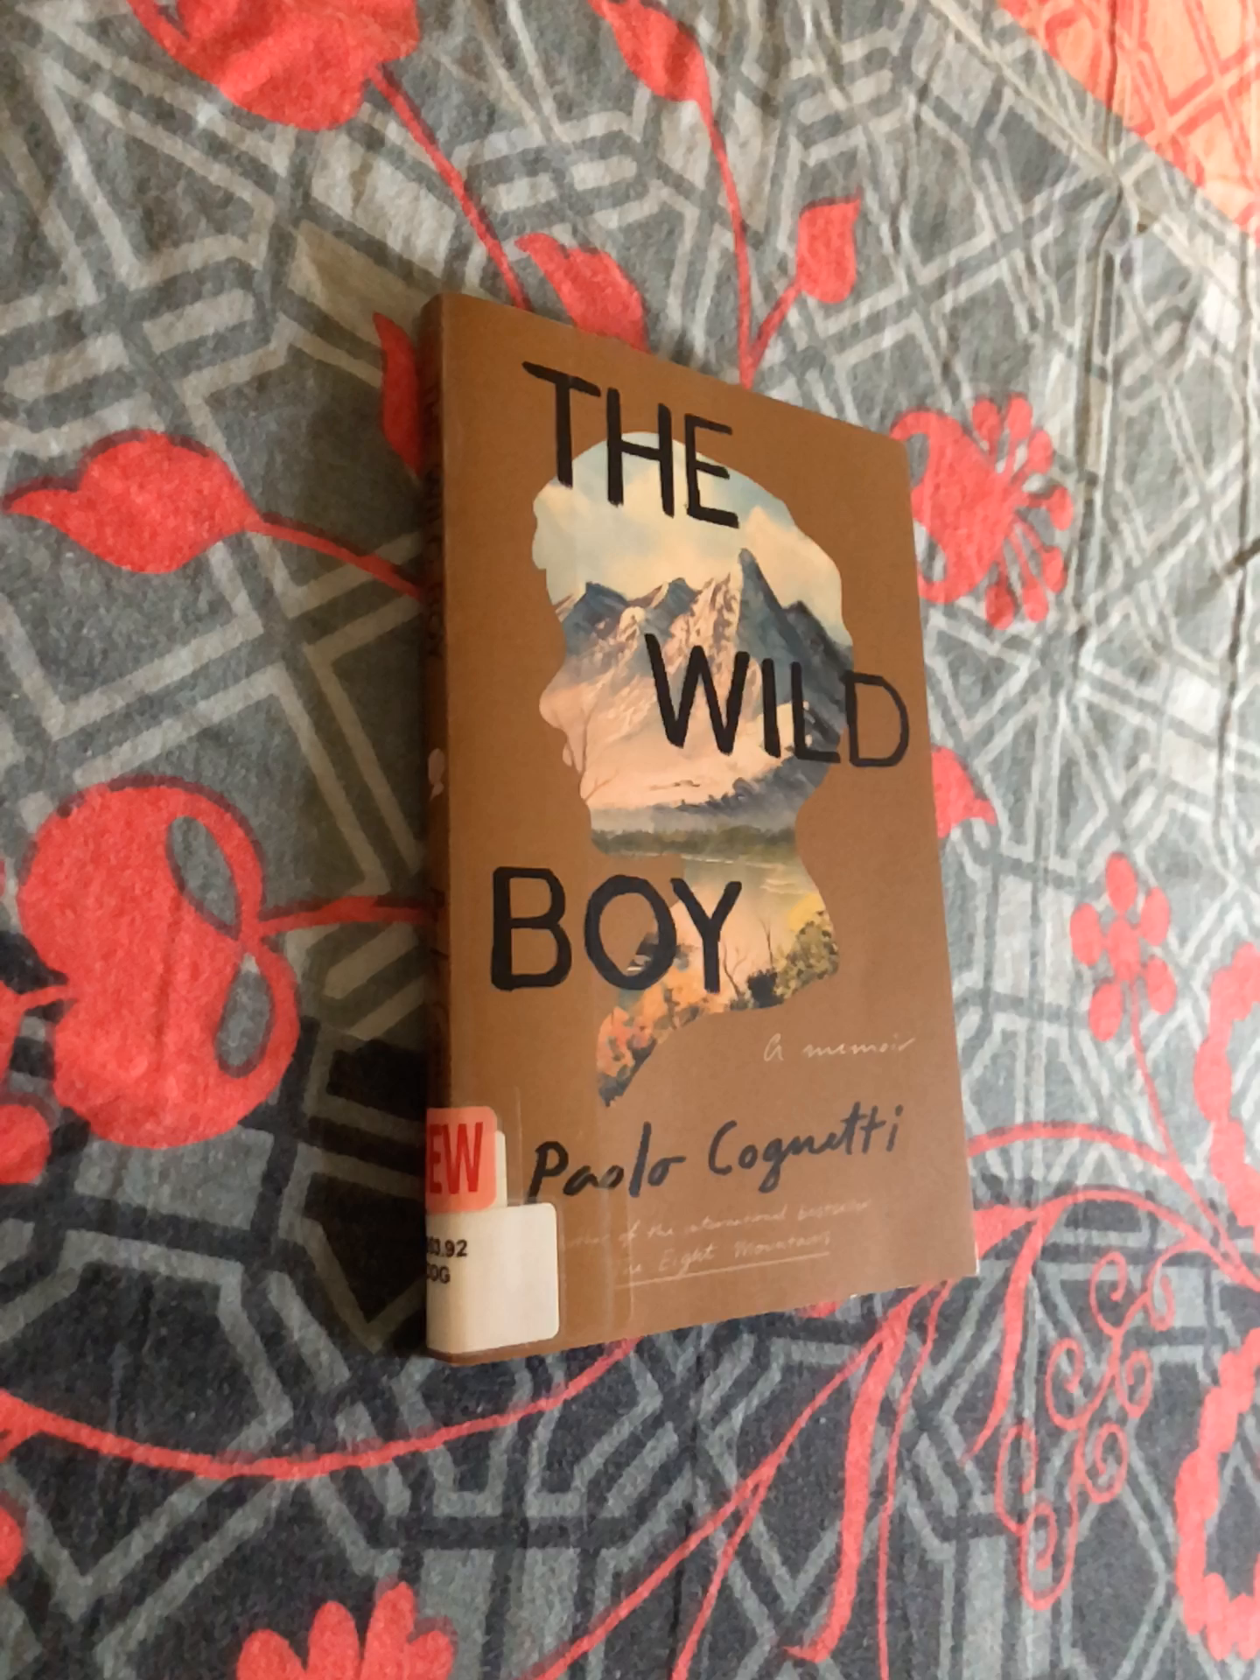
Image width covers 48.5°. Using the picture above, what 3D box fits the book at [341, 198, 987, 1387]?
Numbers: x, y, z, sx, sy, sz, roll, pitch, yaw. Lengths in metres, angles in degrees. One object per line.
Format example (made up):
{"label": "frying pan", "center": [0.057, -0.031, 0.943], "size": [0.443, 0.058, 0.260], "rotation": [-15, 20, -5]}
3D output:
{"label": "book", "center": [0.011, -0.010, 0.322], "size": [0.151, 0.030, 0.230], "rotation": [4, 80, -36]}
